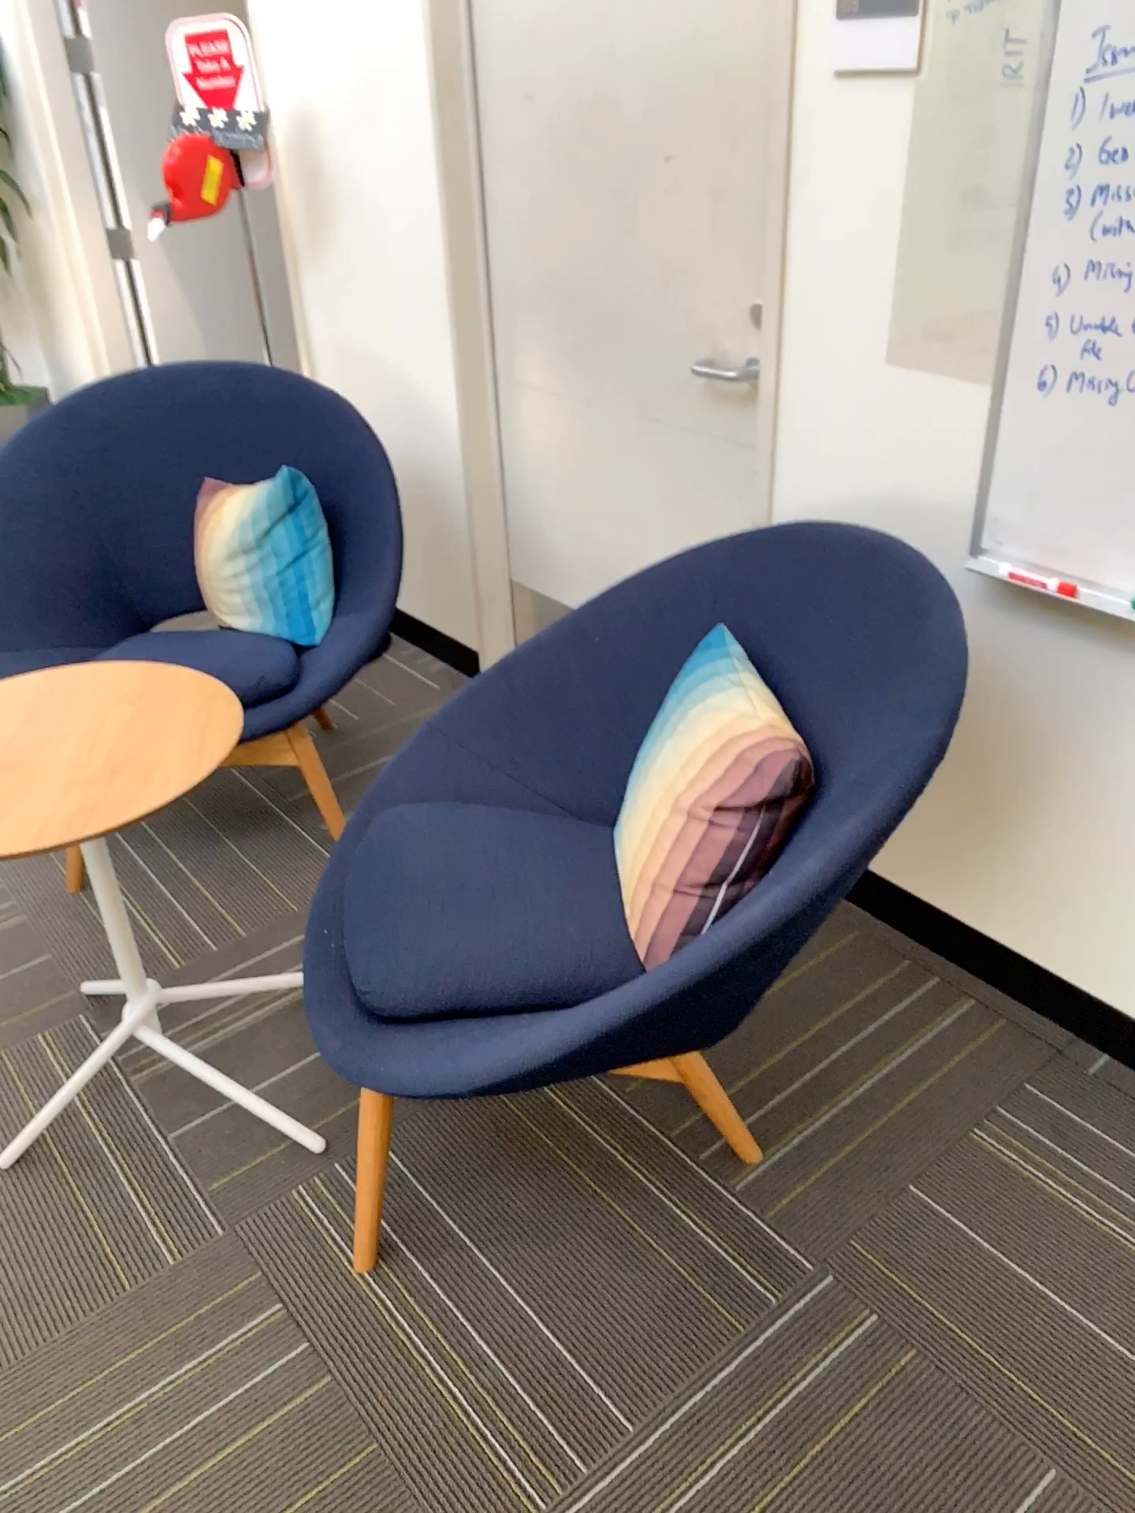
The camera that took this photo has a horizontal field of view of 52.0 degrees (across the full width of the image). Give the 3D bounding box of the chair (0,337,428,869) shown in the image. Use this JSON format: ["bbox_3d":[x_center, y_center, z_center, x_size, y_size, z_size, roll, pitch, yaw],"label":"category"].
[{"bbox_3d":[-0.778,-0.364,2.514,0.790,0.835,0.845,-2,31,1],"label":"chair"}]

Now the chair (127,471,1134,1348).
[{"bbox_3d":[0.090,0.188,1.717,0.980,0.944,0.835,-1,31,3],"label":"chair"}]
